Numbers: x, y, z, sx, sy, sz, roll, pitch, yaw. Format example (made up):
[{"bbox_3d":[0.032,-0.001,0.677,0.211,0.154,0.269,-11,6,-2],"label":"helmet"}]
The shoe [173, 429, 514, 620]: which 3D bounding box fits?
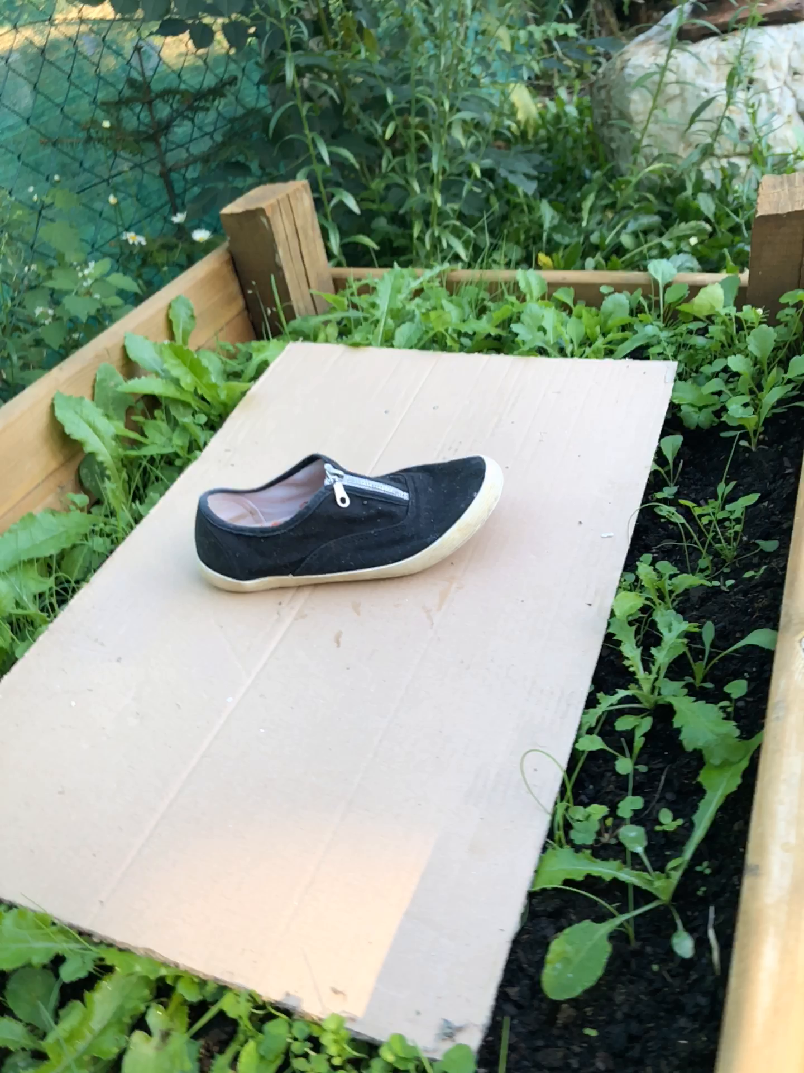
[{"bbox_3d":[-0.042,-0.011,0.687,0.240,0.070,0.101,-8,38,2],"label":"shoe"}]
